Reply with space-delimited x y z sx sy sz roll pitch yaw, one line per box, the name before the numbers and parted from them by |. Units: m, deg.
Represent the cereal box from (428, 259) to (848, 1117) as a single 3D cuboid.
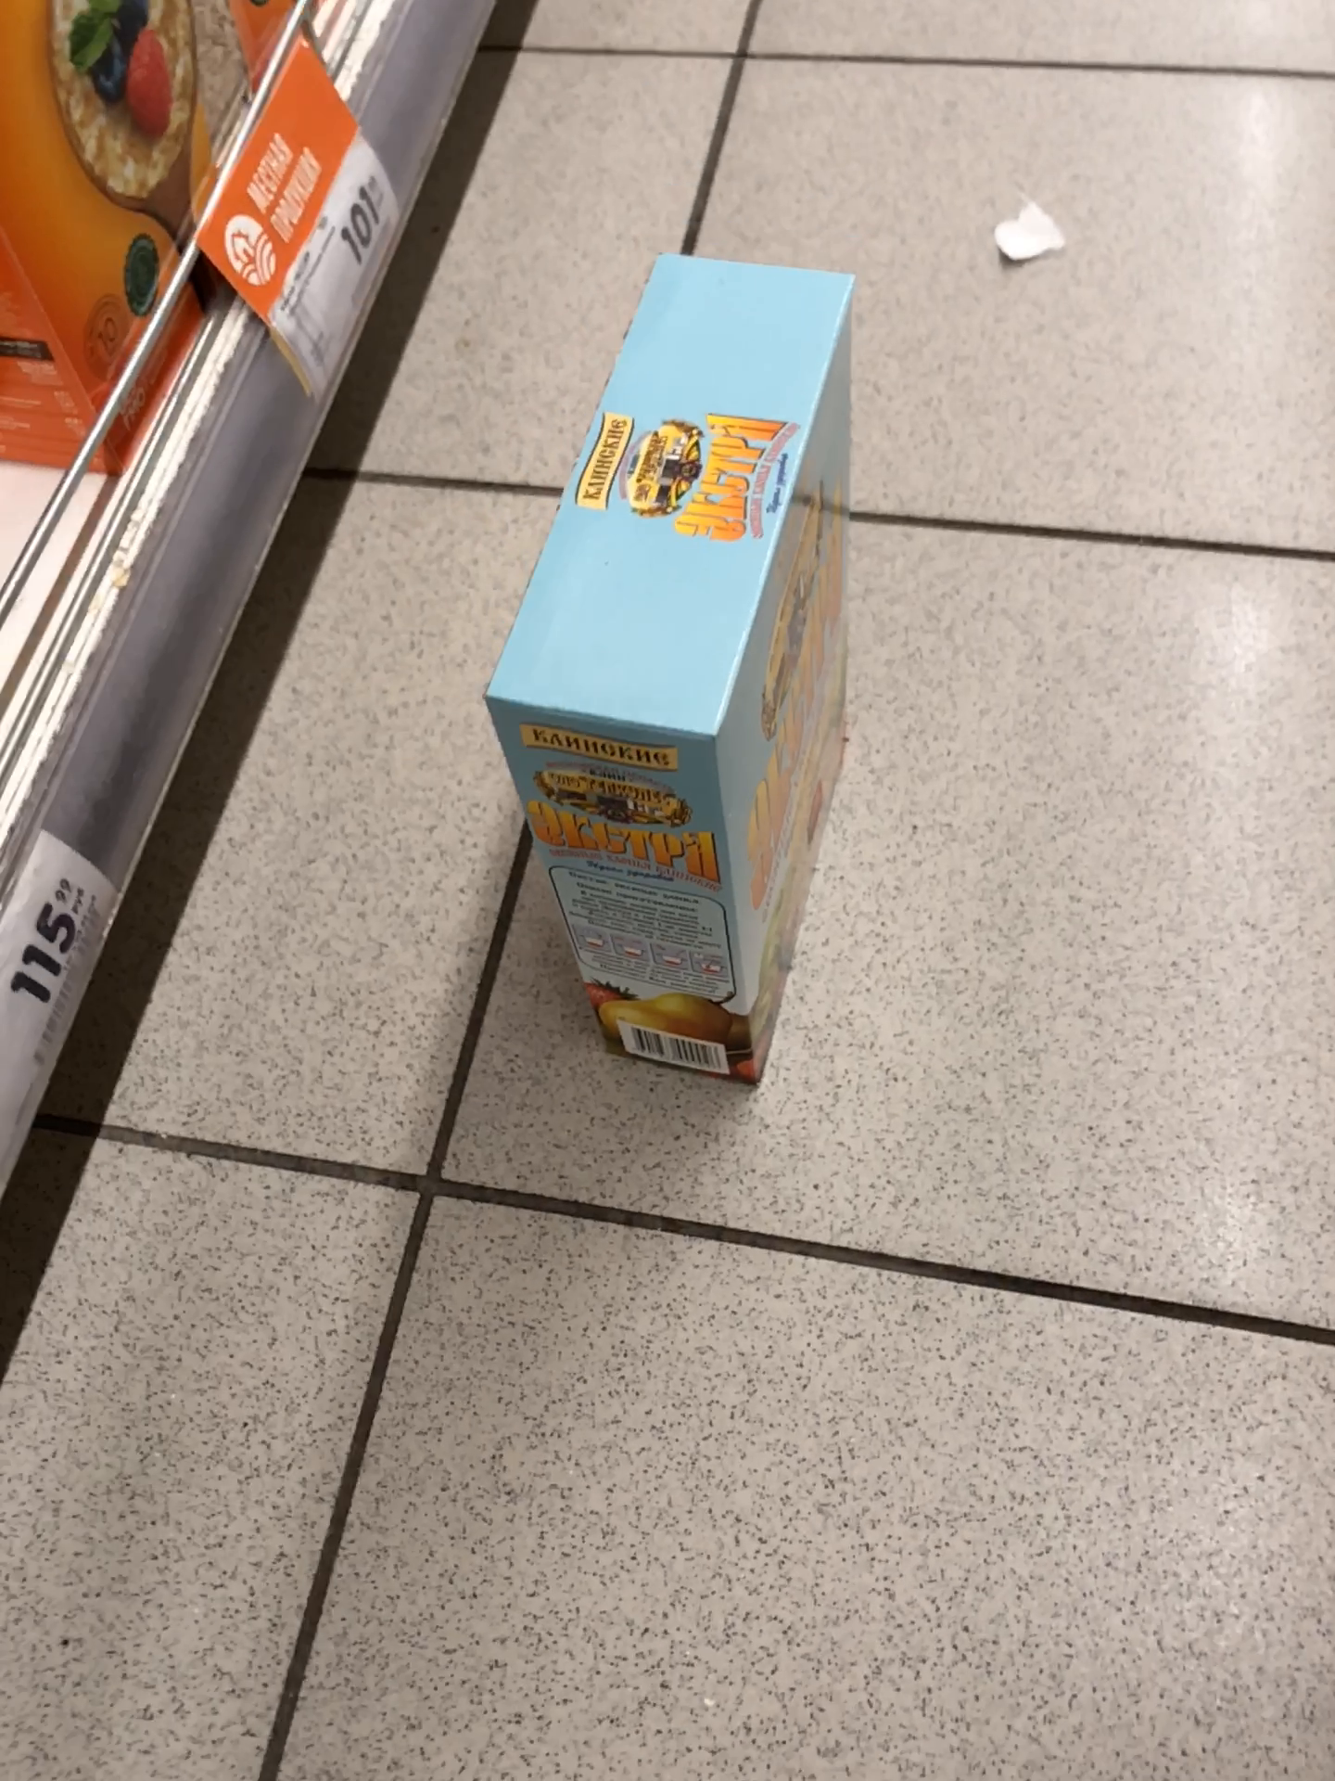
cereal box | 0.007 -0.044 0.437 0.060 0.209 0.151 11 64 12
